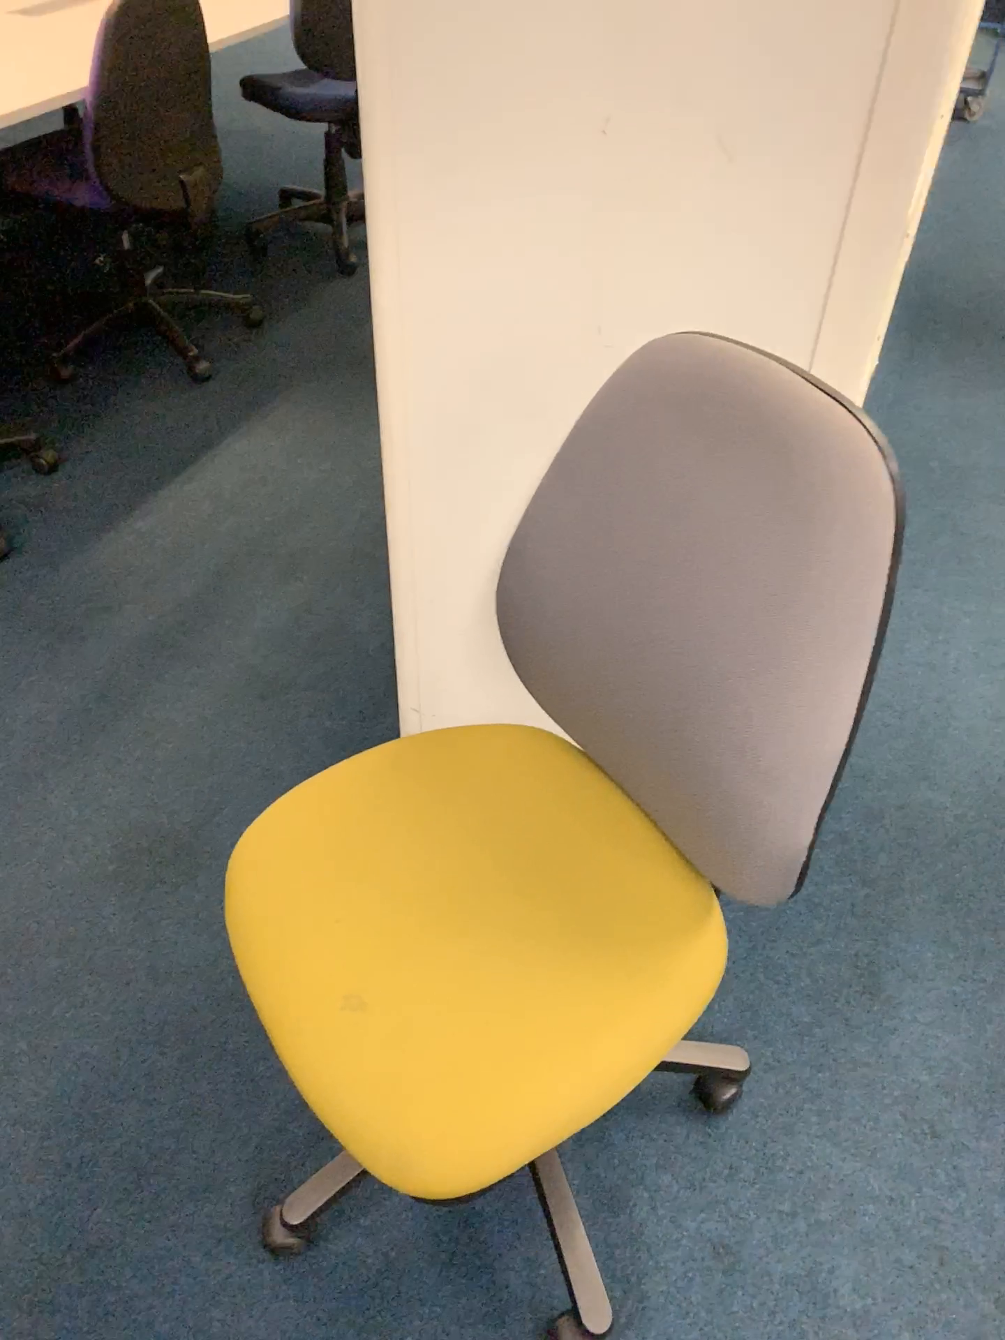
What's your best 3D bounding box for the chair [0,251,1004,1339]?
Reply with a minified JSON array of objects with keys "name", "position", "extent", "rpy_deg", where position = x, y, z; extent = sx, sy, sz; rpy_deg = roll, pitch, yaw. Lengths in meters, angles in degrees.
[{"name":"chair","position":[-0.011,0.214,1.024],"extent":[0.662,0.921,0.644],"rpy_deg":[-23,48,-25]}]
